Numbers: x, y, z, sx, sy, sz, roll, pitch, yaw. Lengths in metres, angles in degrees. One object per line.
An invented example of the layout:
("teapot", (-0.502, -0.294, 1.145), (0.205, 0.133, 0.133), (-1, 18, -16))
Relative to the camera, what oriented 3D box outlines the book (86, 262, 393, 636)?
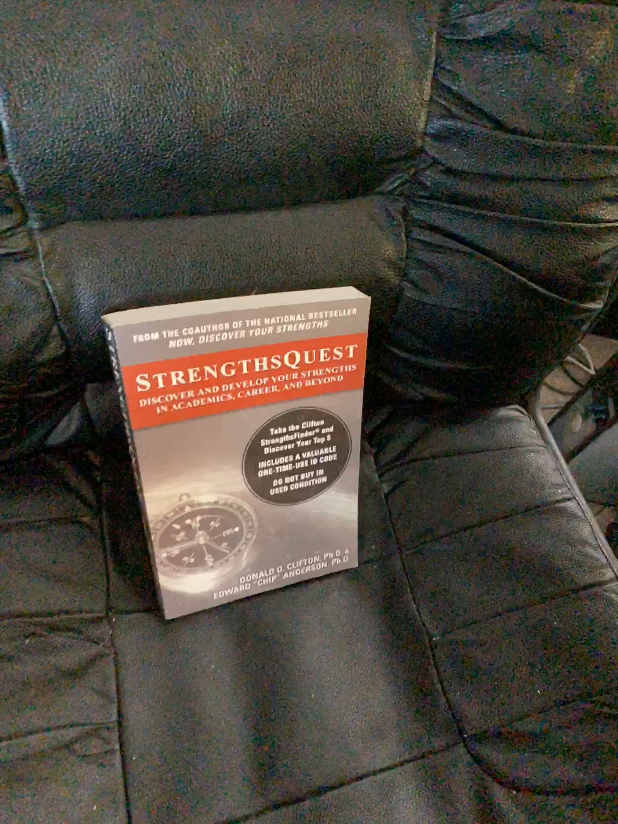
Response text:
("book", (-0.033, 0.033, 0.420), (0.170, 0.239, 0.030), (-12, 34, -16))
